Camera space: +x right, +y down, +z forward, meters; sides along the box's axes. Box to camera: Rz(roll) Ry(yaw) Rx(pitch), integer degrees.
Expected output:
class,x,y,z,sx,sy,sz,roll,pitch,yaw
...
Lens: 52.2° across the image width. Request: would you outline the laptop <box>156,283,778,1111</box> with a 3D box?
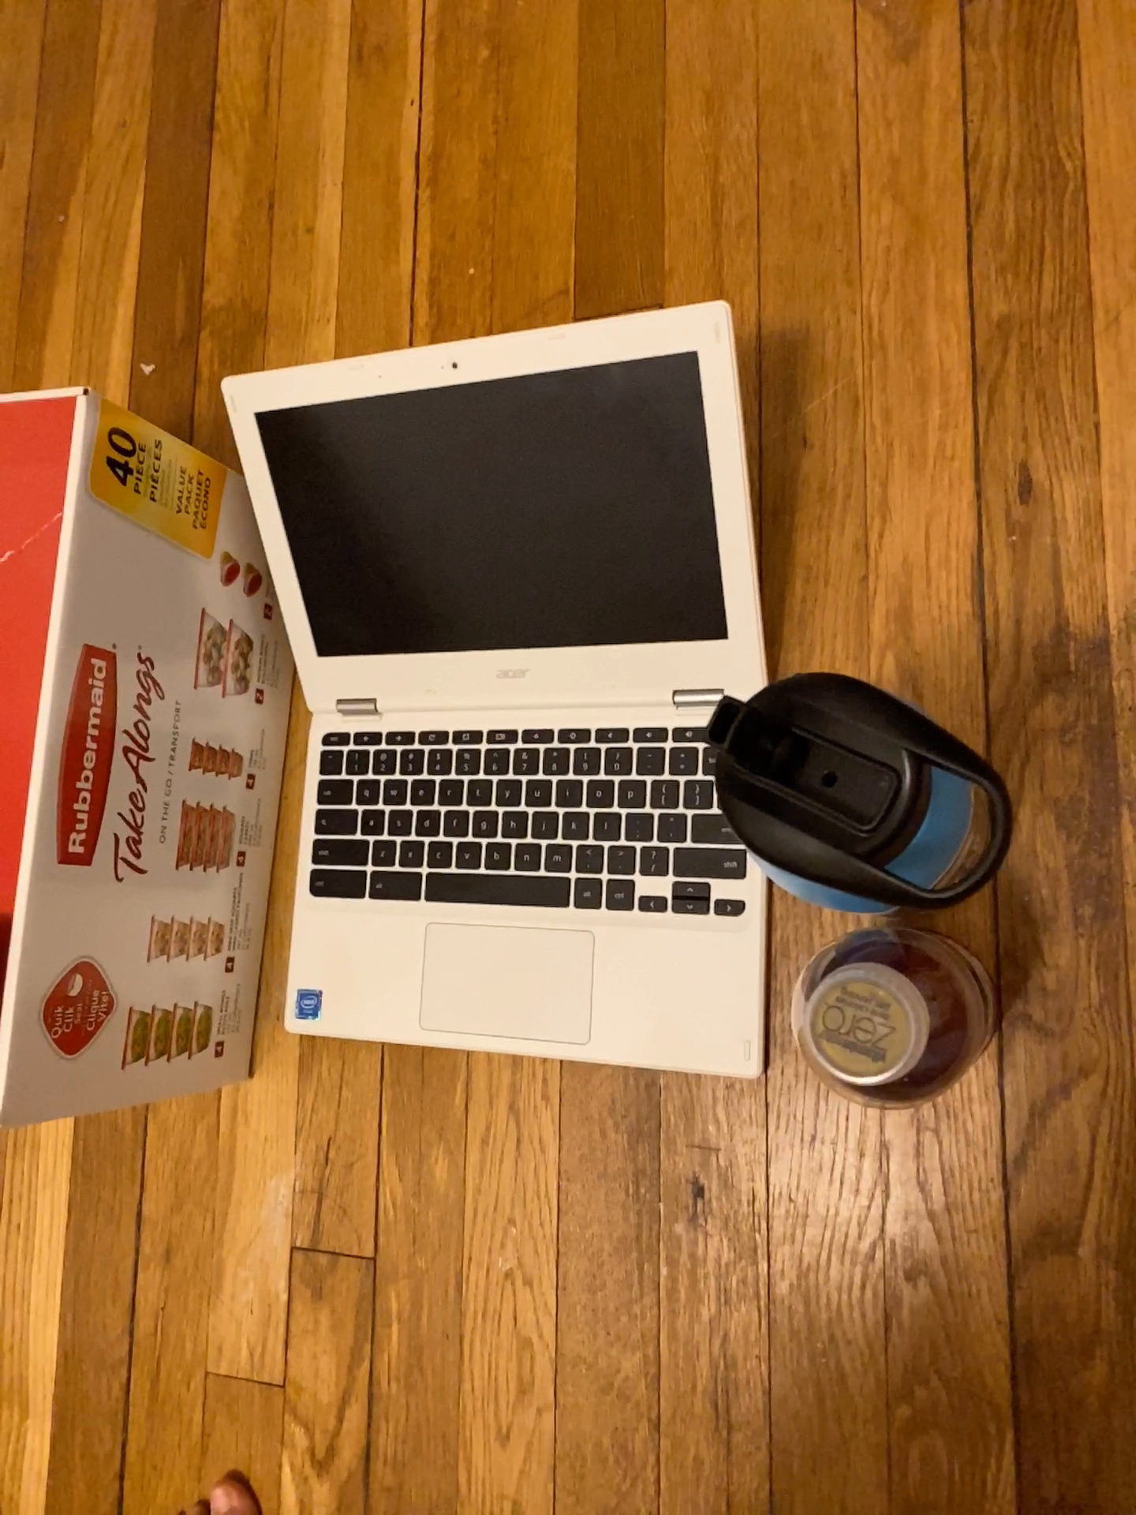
class,x,y,z,sx,sy,sz,roll,pitch,yaw
laptop,-0.050,-0.024,0.611,0.289,0.109,0.364,0,82,24
